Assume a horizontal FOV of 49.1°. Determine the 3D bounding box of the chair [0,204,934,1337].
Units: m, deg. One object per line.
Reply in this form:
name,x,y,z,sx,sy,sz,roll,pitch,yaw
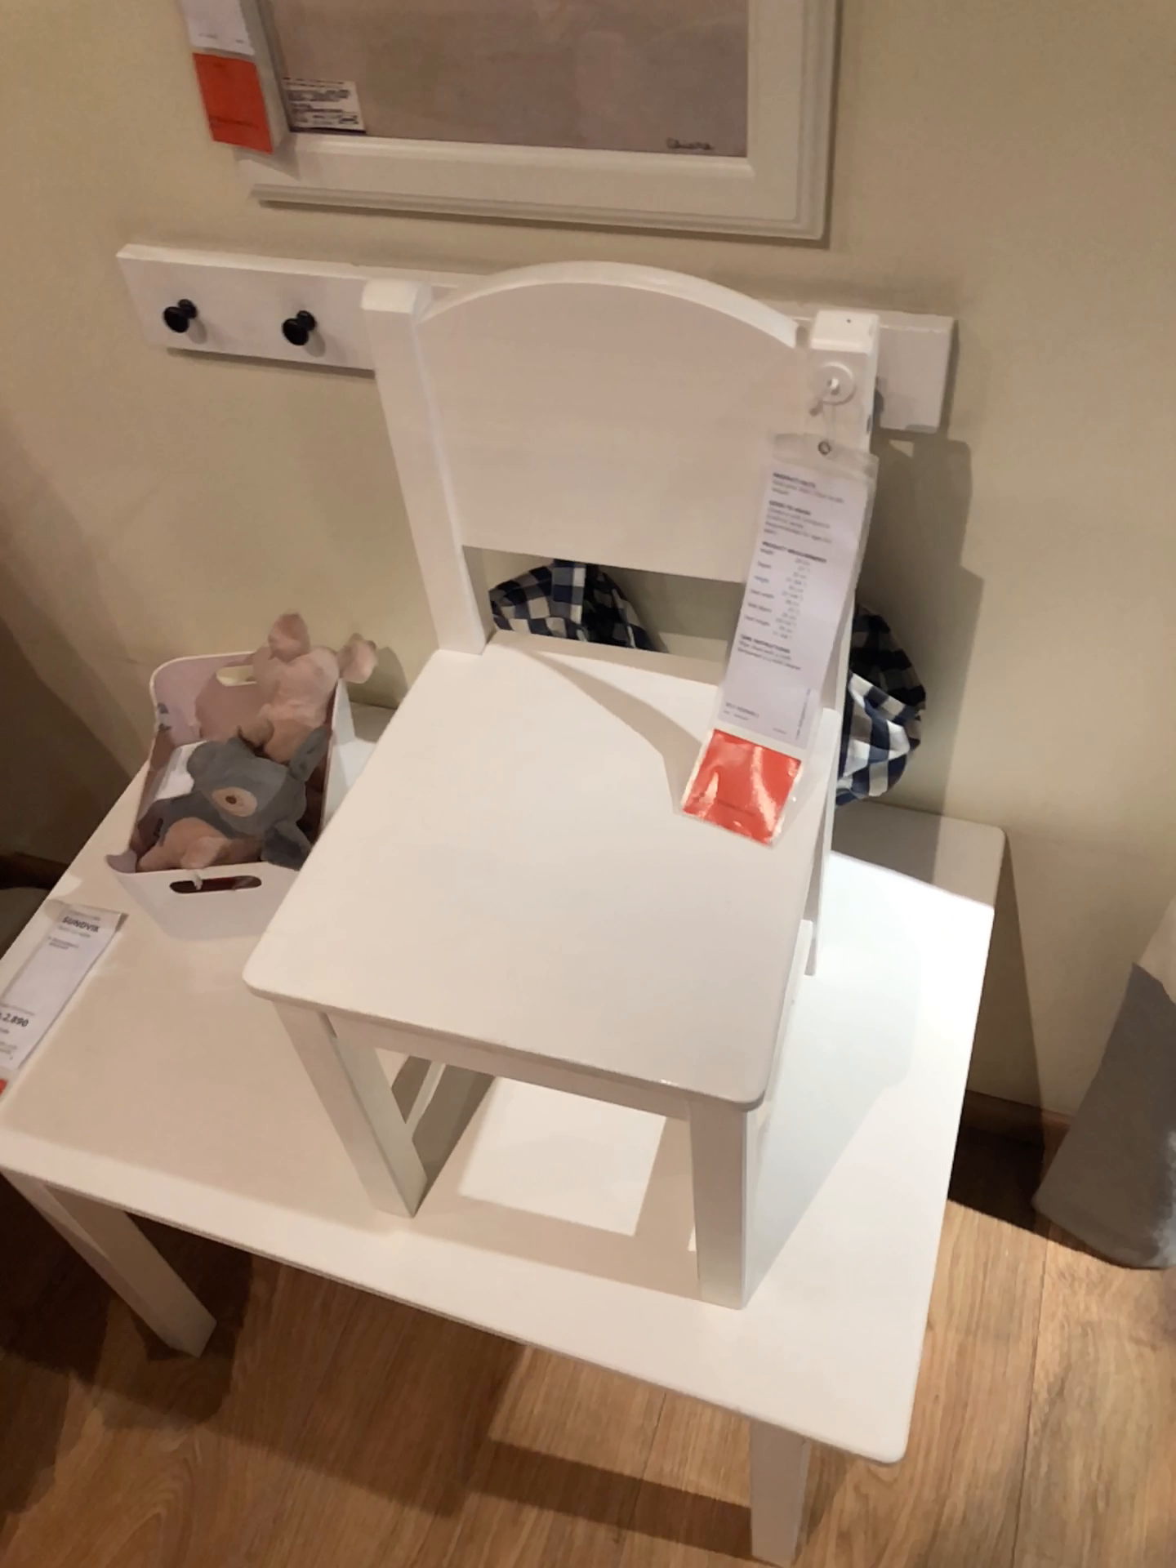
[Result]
chair,-0.003,0.022,0.742,0.300,0.557,0.322,9,50,15
